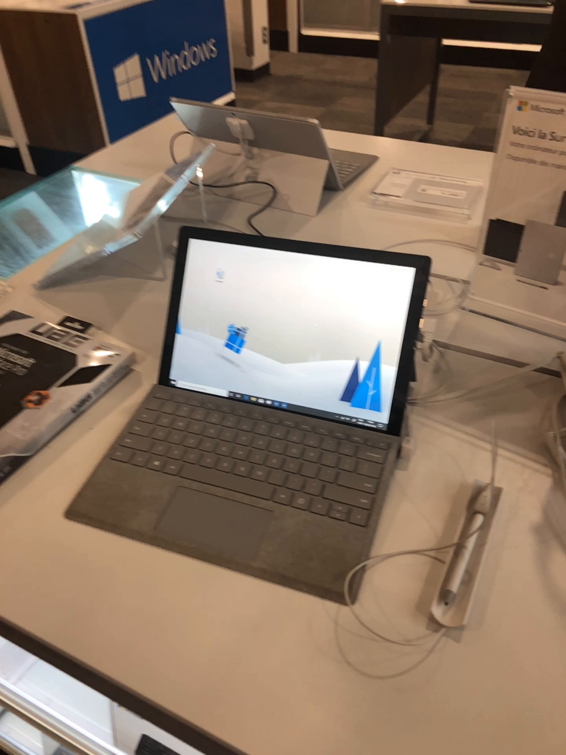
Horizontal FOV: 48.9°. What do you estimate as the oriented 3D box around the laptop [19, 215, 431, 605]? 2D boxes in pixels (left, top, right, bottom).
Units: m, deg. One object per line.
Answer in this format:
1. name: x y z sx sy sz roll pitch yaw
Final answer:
1. laptop: -0.030 0.003 0.621 0.285 0.149 0.308 12 45 16
